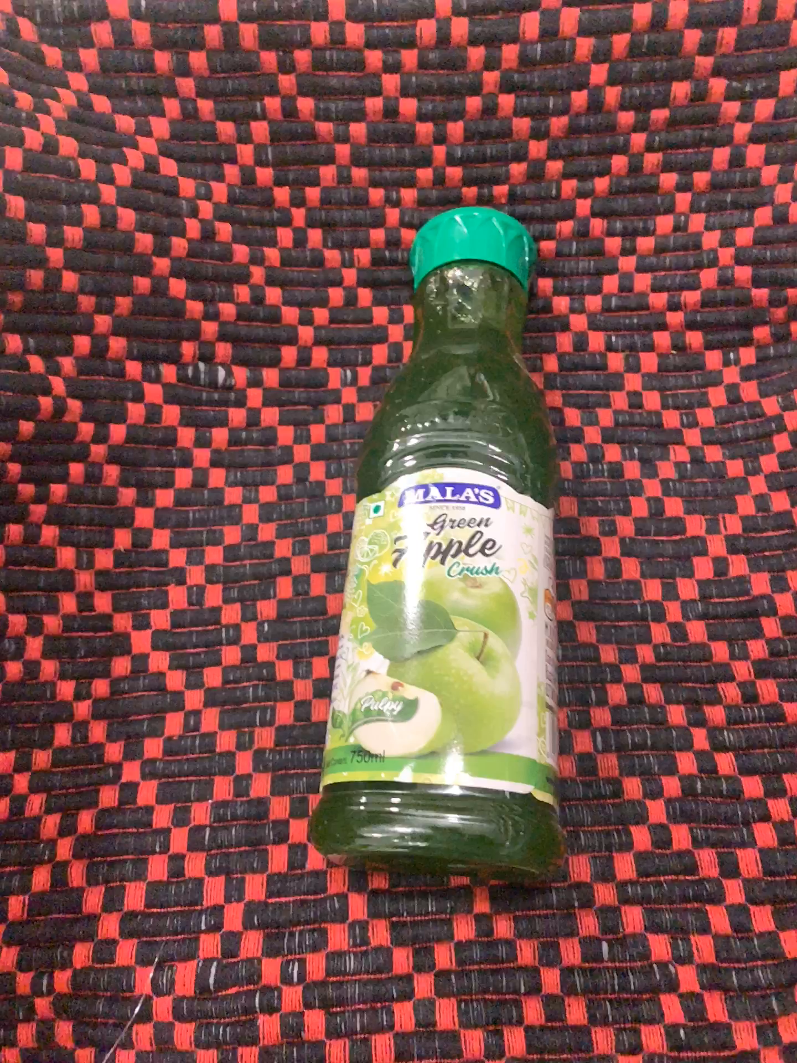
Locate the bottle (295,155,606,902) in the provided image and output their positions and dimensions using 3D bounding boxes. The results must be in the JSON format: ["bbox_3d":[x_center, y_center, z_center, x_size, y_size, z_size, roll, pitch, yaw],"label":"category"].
[{"bbox_3d":[0.023,-0.018,0.281,0.070,0.070,0.250,3,59,4],"label":"bottle"}]
